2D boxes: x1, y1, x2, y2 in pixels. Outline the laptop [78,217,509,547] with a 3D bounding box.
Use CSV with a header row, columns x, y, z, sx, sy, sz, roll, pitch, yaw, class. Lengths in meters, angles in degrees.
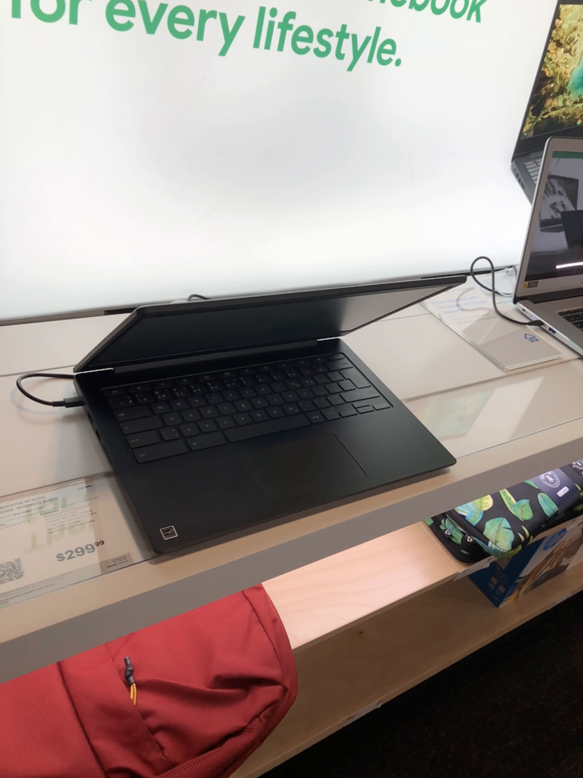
x,y,z,sx,sy,sz,roll,pitch,yaw,class
-0.010,-0.031,0.588,0.307,0.157,0.214,-10,44,-30,laptop
